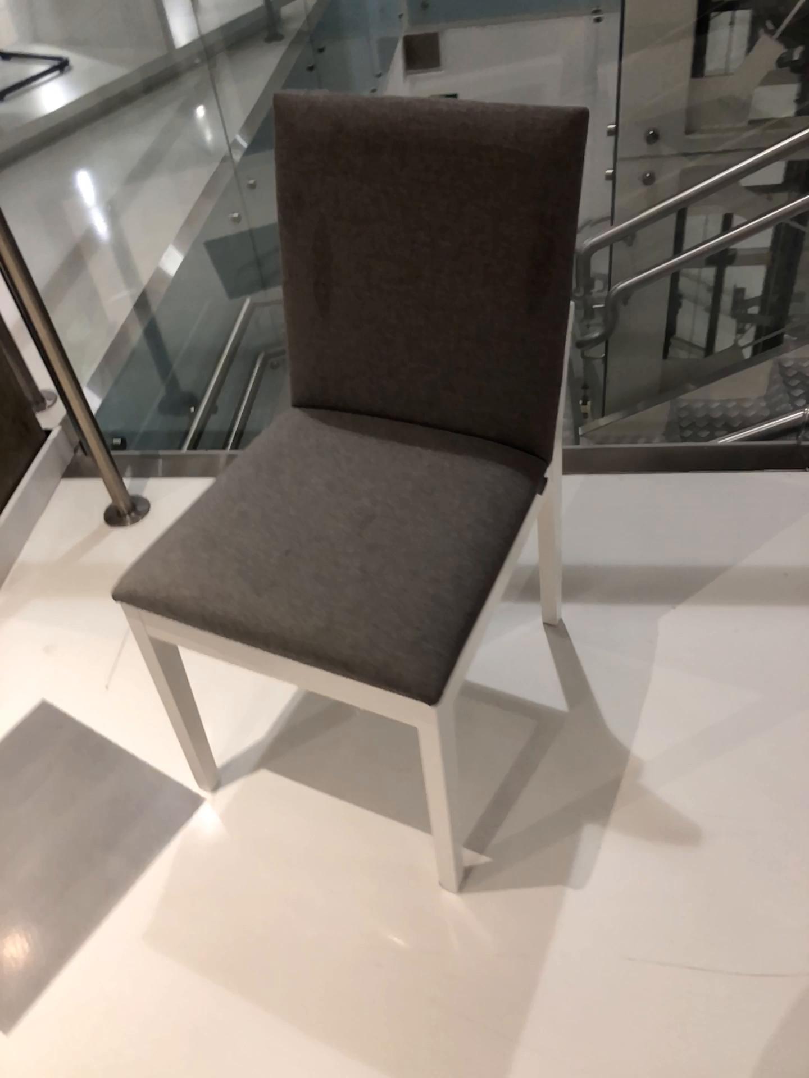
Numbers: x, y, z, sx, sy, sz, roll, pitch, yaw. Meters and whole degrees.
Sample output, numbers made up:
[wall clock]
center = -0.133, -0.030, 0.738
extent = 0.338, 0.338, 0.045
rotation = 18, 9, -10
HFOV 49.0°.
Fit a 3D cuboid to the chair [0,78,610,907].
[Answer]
[chair]
center = -0.067, -0.048, 1.167
extent = 0.481, 0.843, 0.563
rotation = 15, 49, 23
